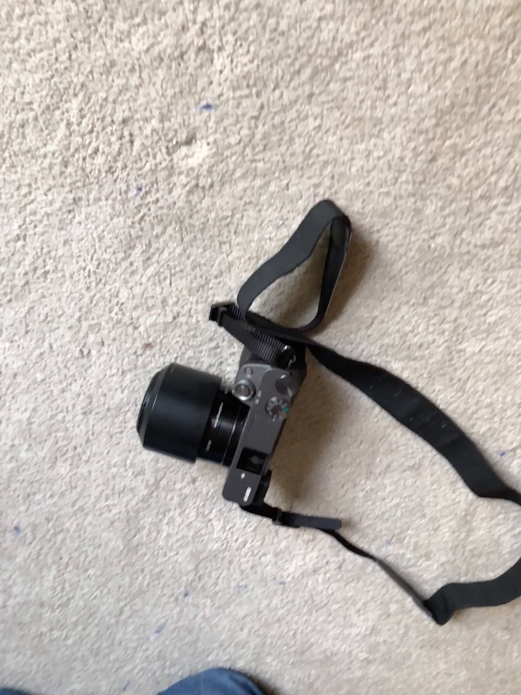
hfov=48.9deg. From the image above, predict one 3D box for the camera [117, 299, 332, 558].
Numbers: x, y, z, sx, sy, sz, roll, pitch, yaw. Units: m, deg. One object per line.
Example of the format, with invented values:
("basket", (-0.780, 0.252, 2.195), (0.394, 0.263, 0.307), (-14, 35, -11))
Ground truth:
("camera", (-0.025, 0.056, 0.402), (0.110, 0.070, 0.140), (17, 115, -1))
